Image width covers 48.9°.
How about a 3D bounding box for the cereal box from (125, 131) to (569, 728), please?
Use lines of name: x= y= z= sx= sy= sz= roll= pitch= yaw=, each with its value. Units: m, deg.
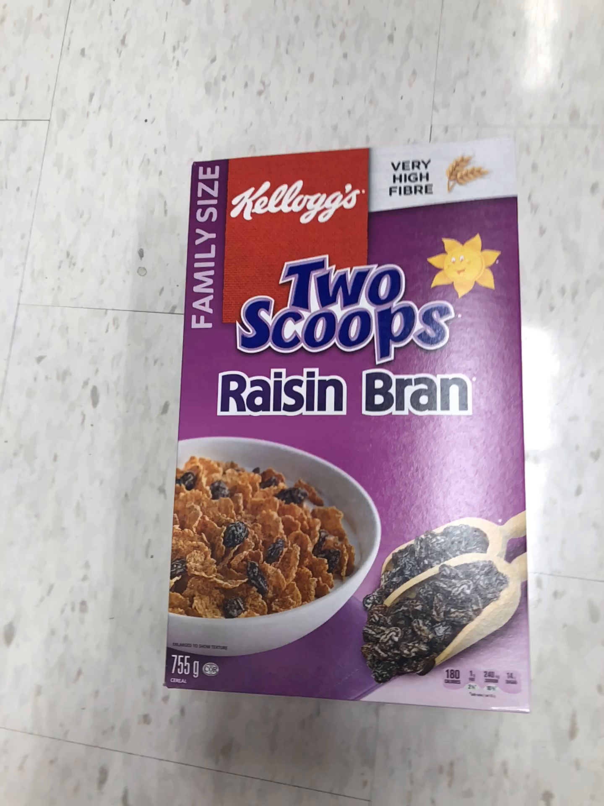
cereal box: x=0.026 y=0.010 z=0.391 sx=0.220 sy=0.080 sz=0.300 roll=-1 pitch=80 yaw=11
